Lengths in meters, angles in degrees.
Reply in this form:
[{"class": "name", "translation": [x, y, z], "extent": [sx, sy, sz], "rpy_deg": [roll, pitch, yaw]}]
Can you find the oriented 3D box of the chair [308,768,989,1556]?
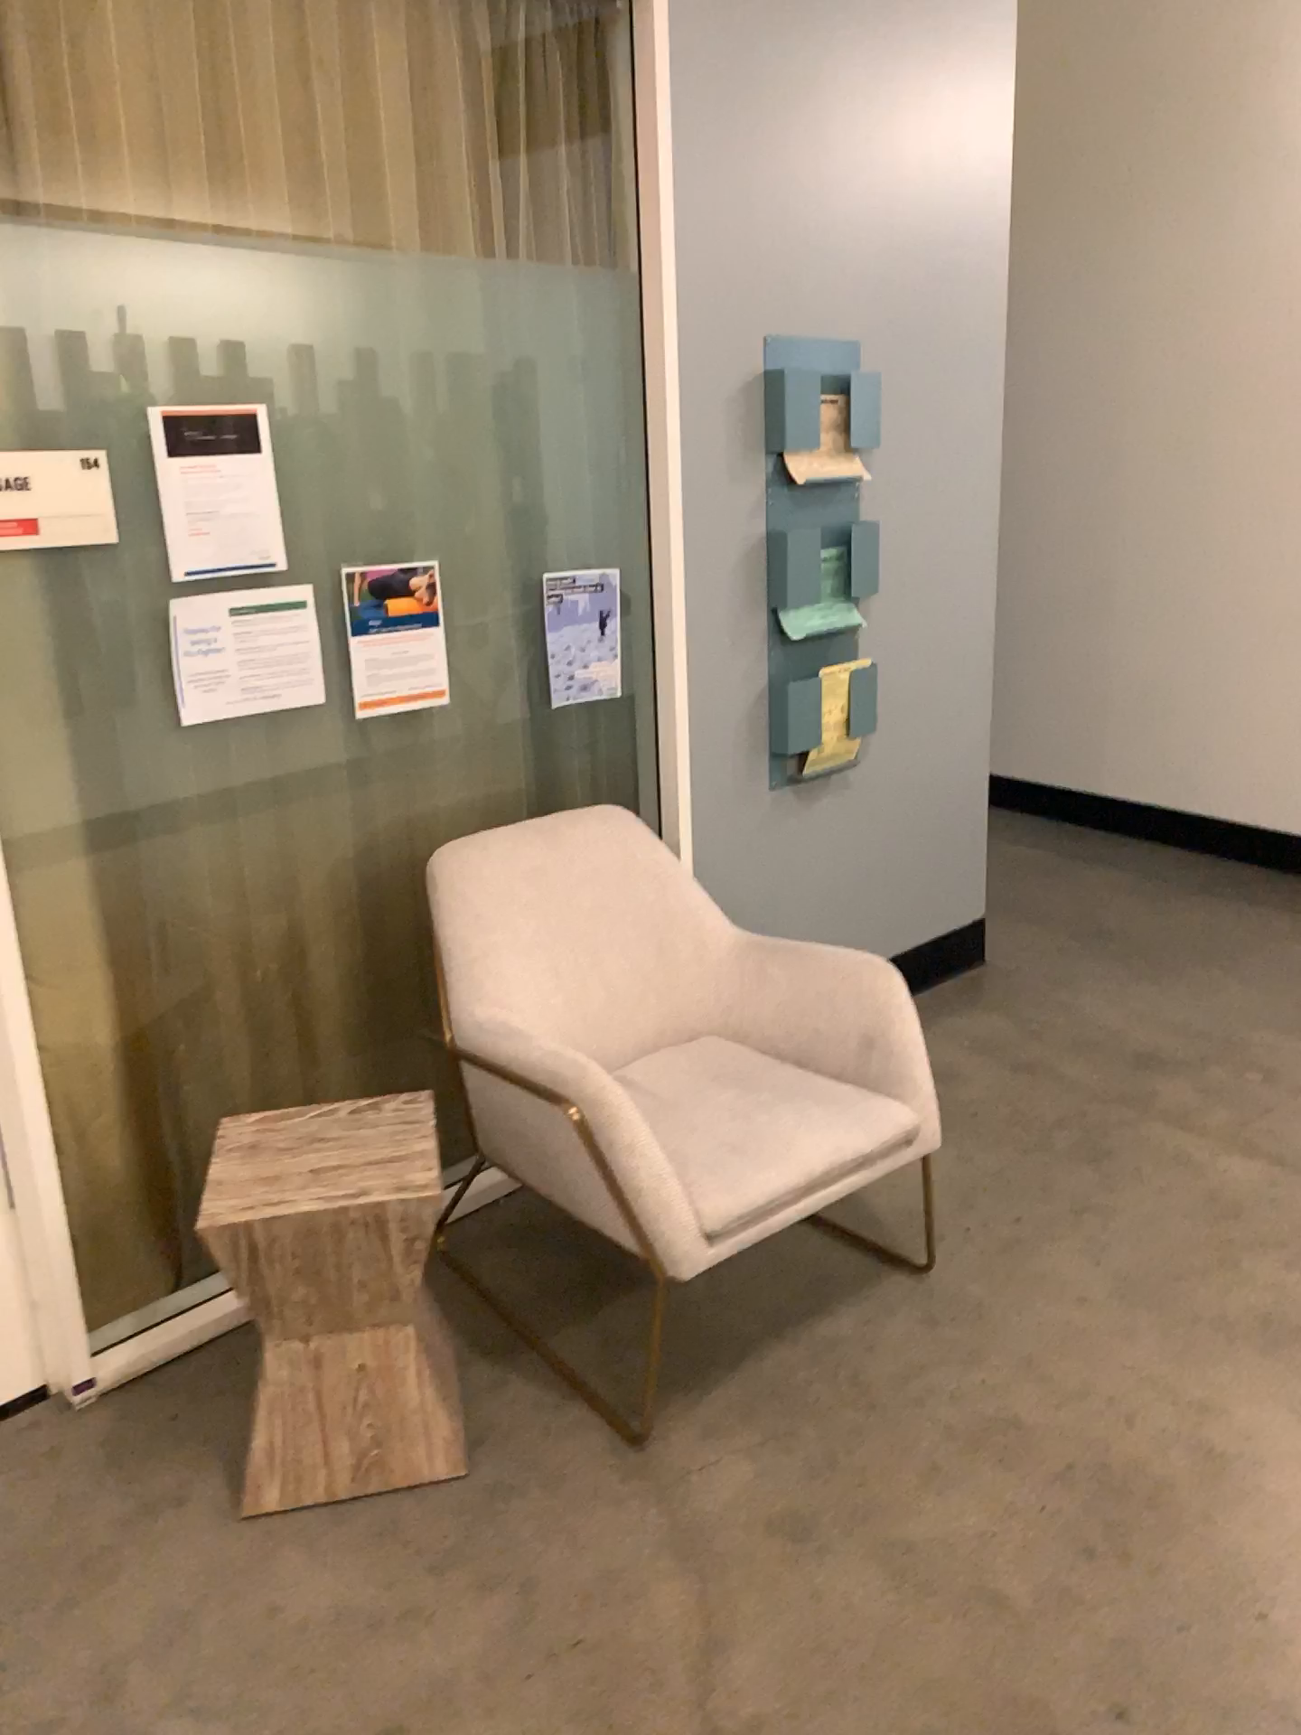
[{"class": "chair", "translation": [-0.004, 0.401, 2.385], "extent": [0.780, 0.926, 0.873], "rpy_deg": [-16, 21, -39]}]
